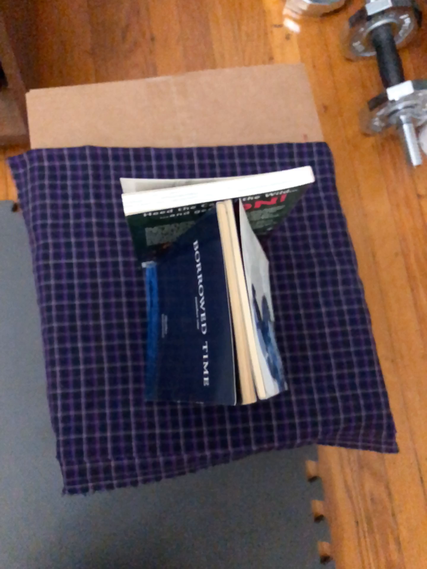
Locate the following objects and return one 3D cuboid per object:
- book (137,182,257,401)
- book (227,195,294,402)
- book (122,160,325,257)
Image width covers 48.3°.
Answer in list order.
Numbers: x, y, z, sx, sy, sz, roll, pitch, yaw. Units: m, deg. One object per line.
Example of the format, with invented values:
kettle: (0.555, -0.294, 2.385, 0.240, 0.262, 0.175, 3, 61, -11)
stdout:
book: (-0.027, 0.022, 0.408, 0.010, 0.200, 0.150, 1, 77, -27)
book: (0.046, 0.025, 0.412, 0.010, 0.200, 0.140, -11, 77, 11)
book: (-0.002, -0.059, 0.422, 0.140, 0.190, 0.020, -8, 85, -8)
